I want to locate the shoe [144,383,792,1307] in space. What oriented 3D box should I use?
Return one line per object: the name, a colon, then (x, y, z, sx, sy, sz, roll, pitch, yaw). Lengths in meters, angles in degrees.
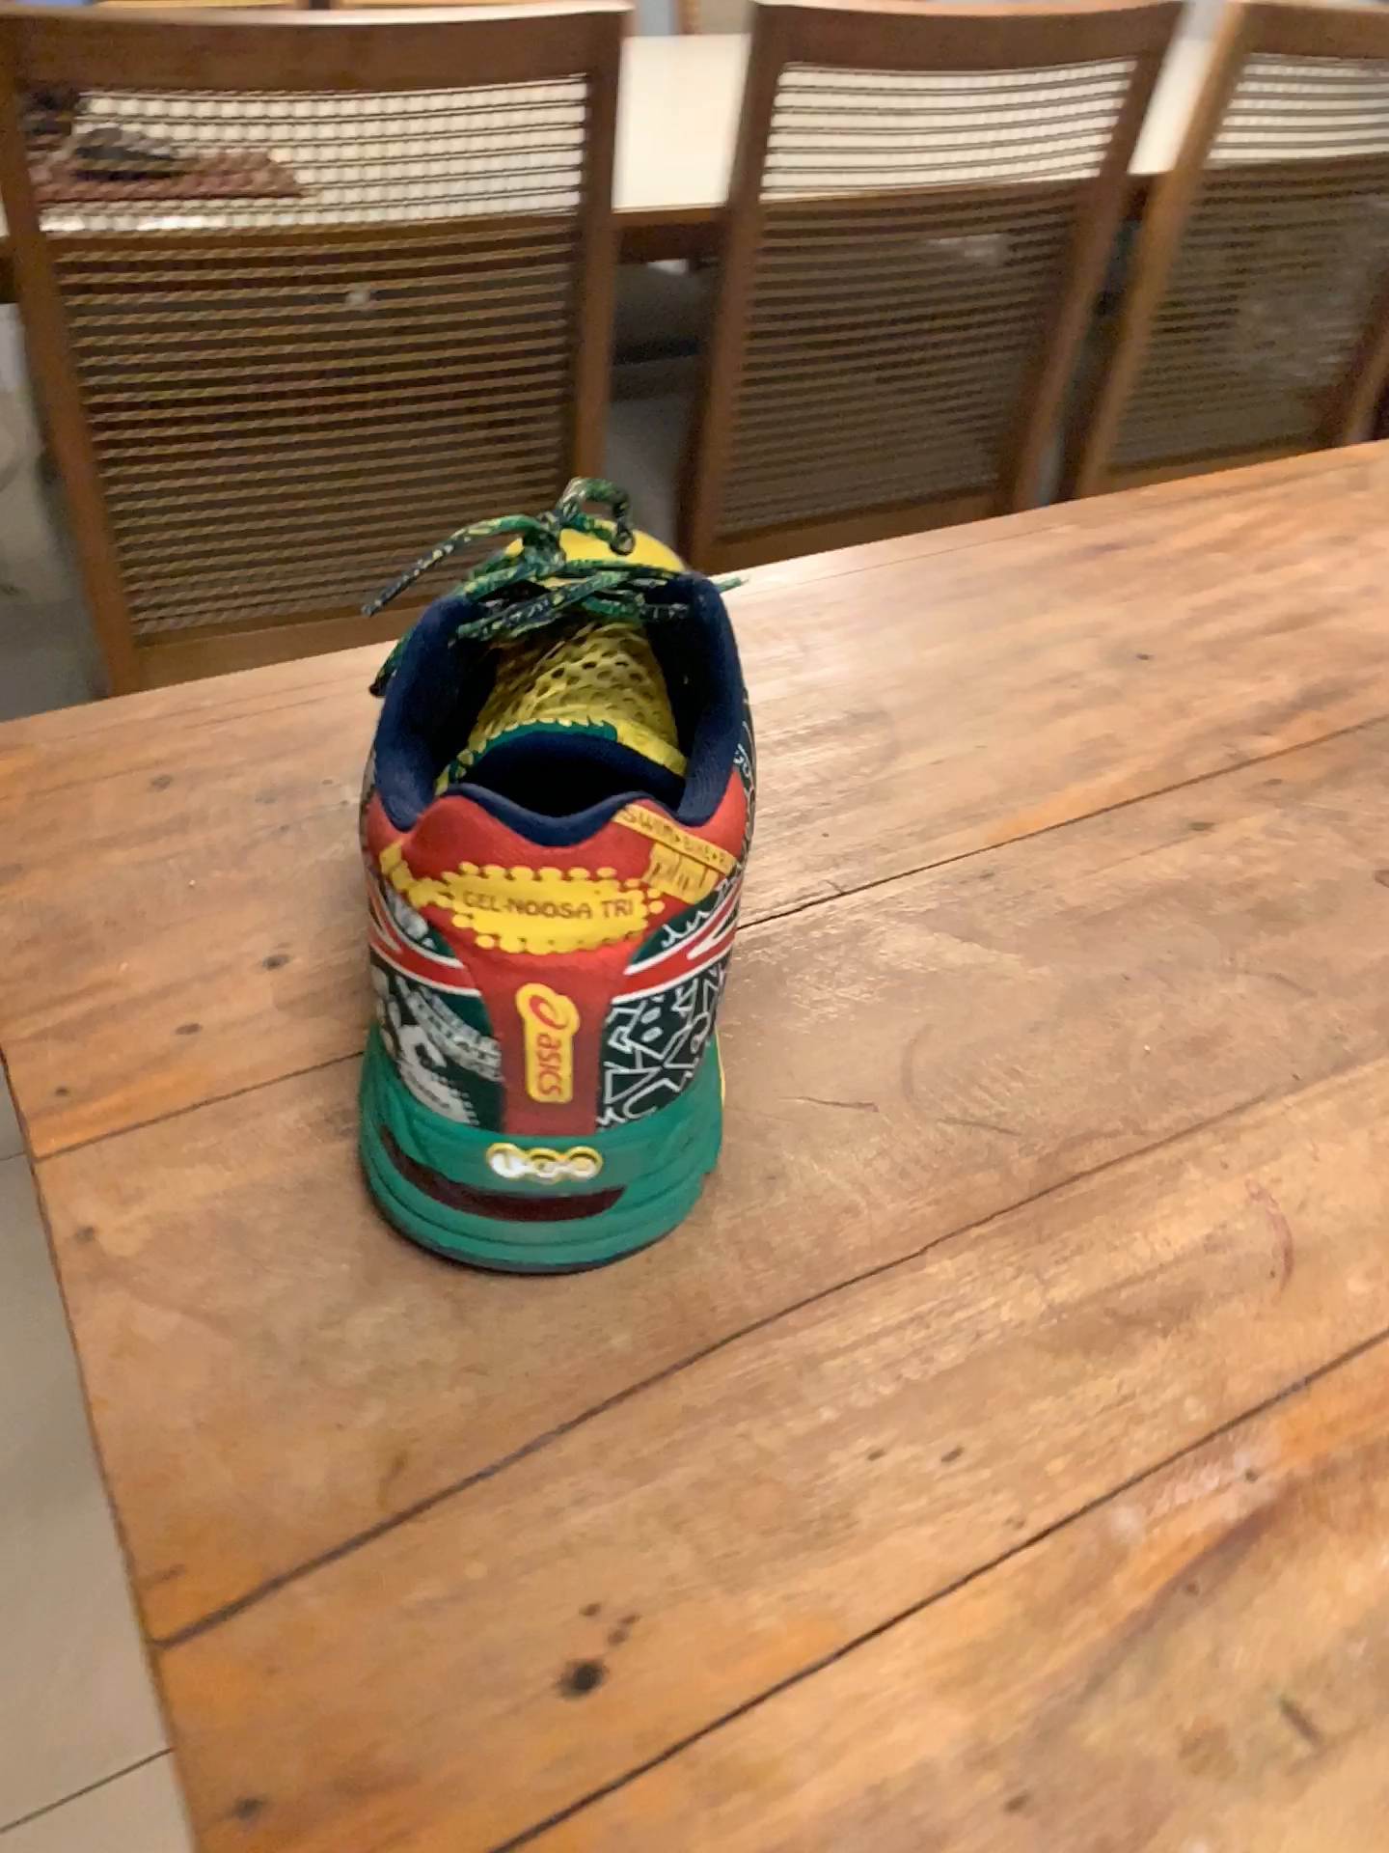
shoe: (-0.042, -0.050, 0.398, 0.113, 0.102, 0.296, 2, 38, -2)
